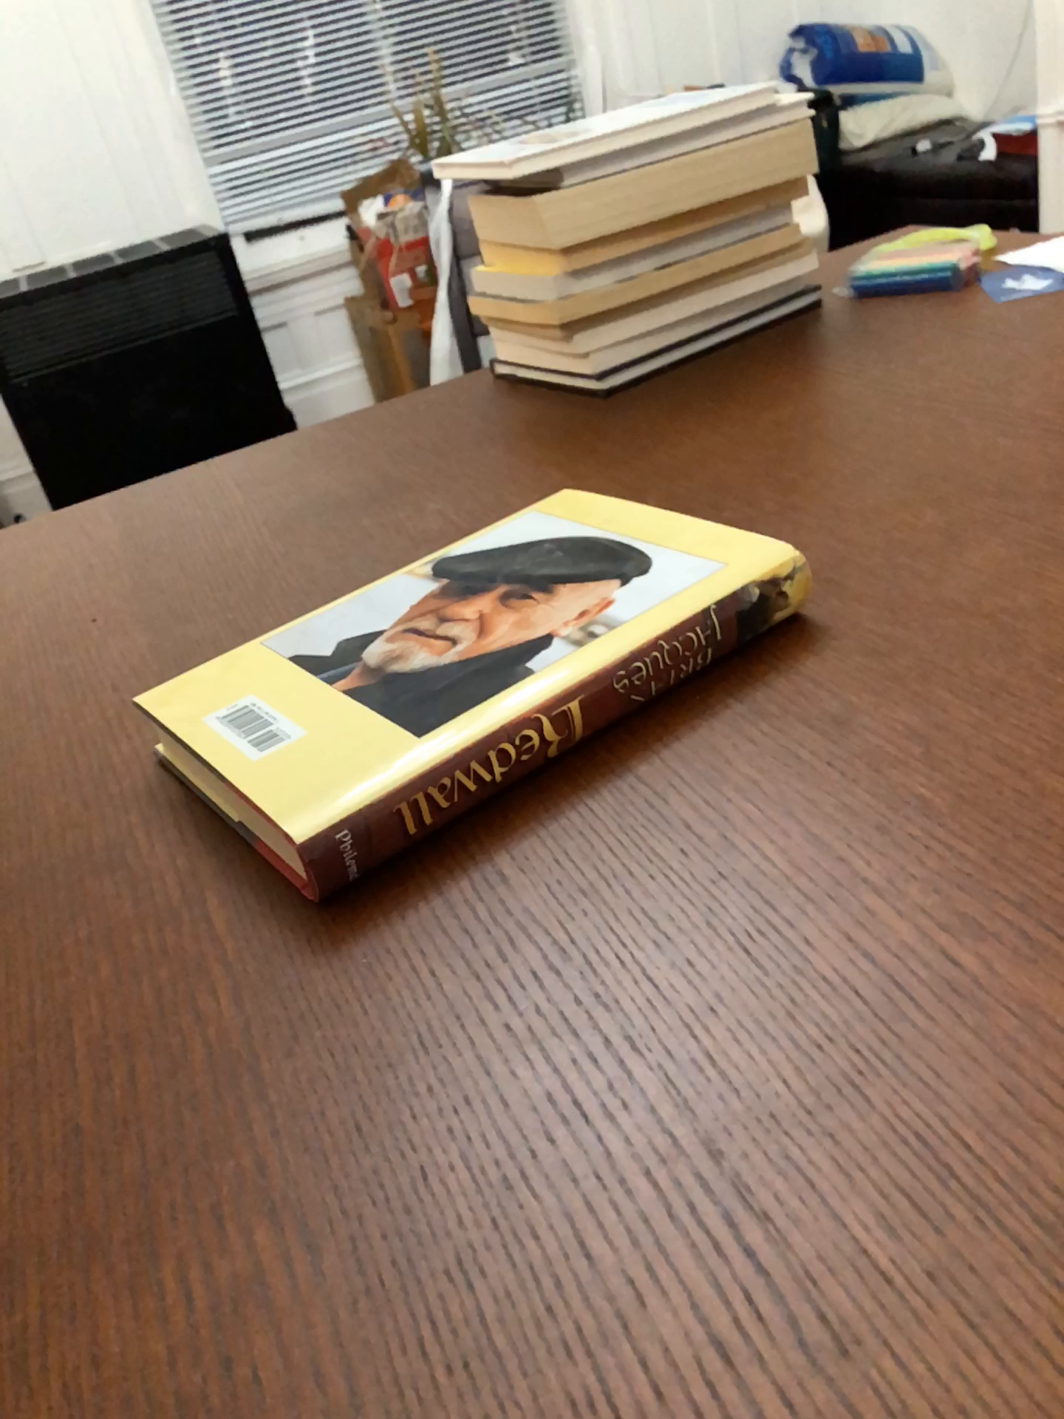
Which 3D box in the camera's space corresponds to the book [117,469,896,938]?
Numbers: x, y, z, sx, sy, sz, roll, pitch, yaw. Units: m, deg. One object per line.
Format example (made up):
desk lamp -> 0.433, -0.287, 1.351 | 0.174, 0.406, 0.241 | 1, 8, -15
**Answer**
book -> -0.014, -0.027, 0.471 | 0.250, 0.030, 0.191 | -29, 32, -25
